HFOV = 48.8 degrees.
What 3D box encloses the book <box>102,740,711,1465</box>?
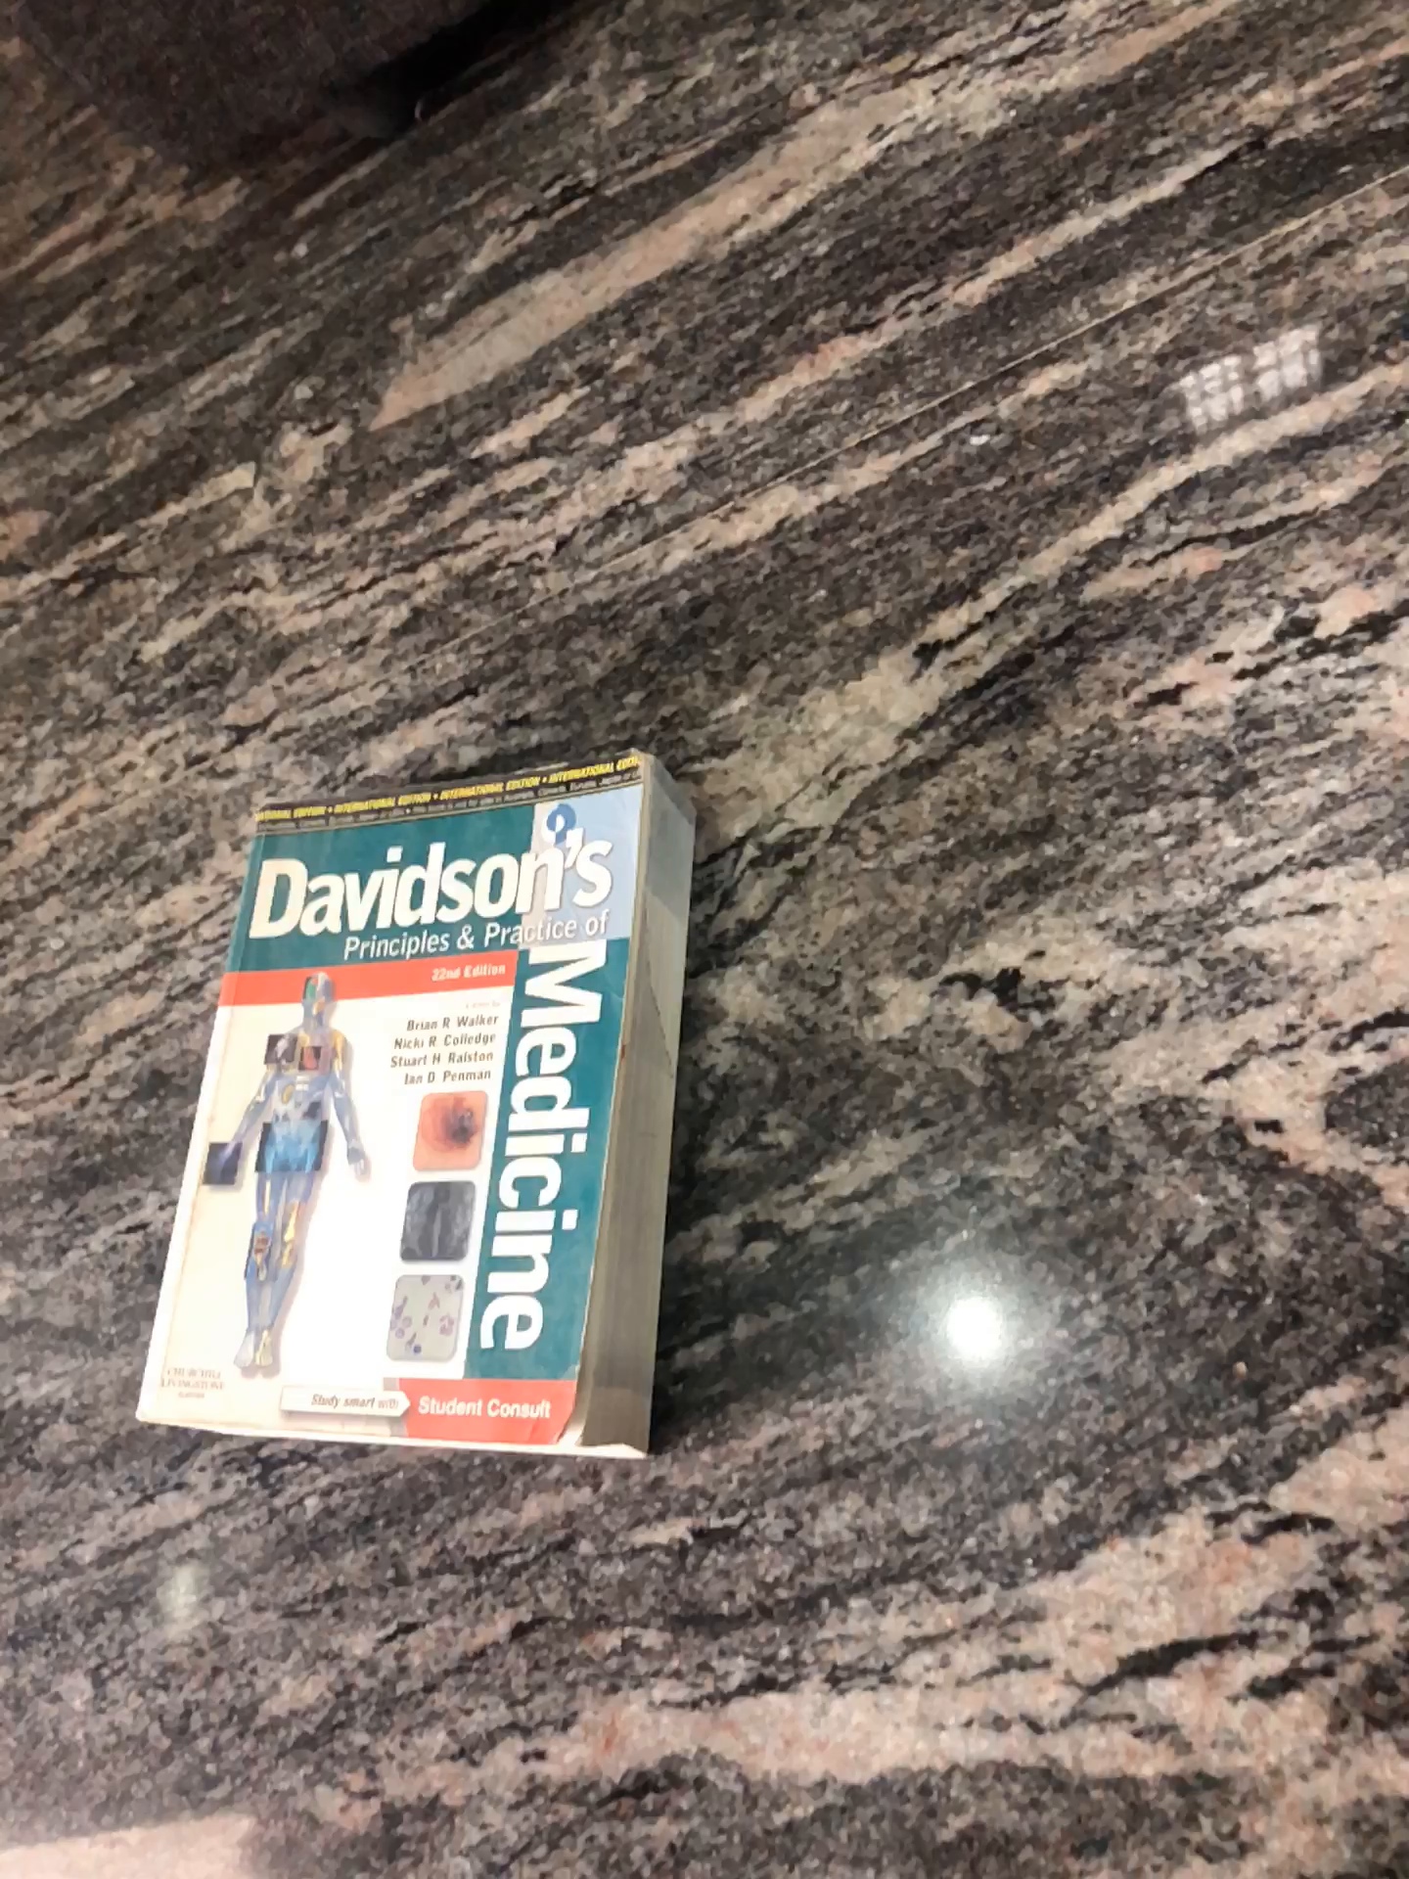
[{"bbox_3d":[-0.112,0.065,0.619,0.201,0.070,0.260,-6,67,23],"label":"book"}]
